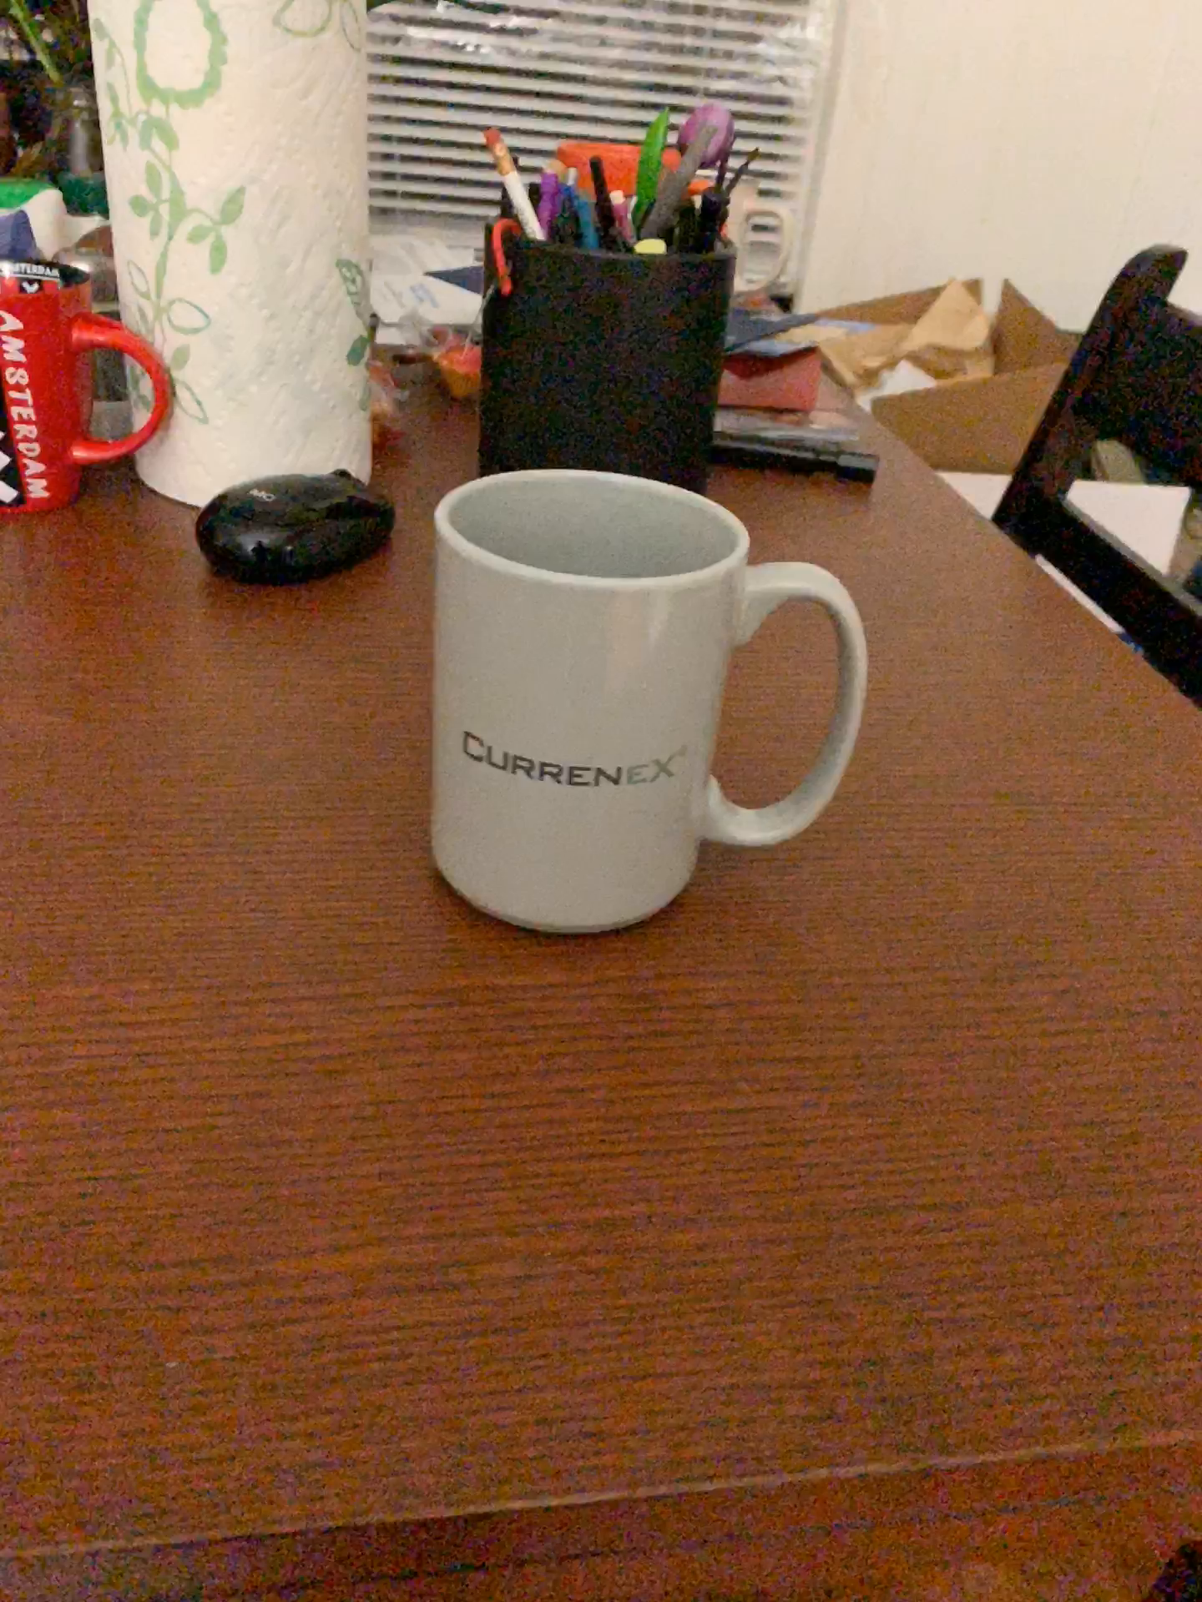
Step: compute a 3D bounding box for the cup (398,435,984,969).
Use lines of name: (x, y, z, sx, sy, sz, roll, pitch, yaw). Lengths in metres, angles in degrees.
cup: (0.019, -0.032, 0.366, 0.140, 0.109, 0.101, 6, 32, 0)
